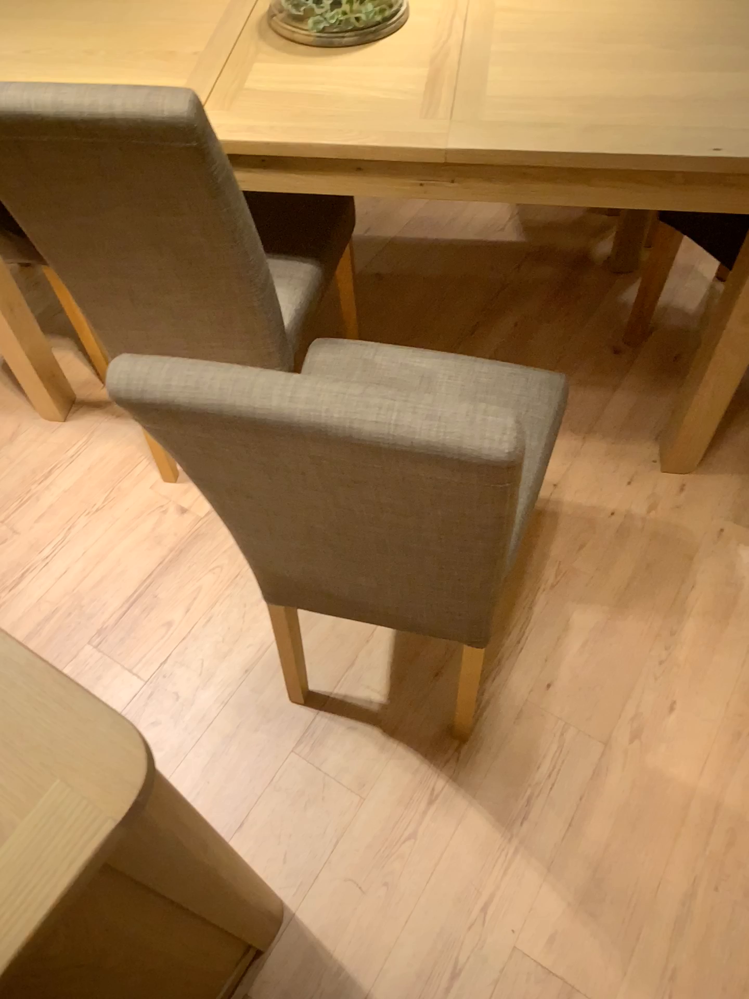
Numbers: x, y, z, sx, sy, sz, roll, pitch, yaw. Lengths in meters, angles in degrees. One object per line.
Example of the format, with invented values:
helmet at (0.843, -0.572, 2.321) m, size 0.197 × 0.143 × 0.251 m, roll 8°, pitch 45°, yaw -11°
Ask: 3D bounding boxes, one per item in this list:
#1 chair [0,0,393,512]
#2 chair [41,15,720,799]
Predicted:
chair at (-0.257, -0.429, 1.329) m, size 0.497 × 0.766 × 0.507 m, roll 6°, pitch 55°, yaw 7°
chair at (0.074, -0.057, 1.081) m, size 0.507 × 0.886 × 0.608 m, roll 10°, pitch 55°, yaw 10°
